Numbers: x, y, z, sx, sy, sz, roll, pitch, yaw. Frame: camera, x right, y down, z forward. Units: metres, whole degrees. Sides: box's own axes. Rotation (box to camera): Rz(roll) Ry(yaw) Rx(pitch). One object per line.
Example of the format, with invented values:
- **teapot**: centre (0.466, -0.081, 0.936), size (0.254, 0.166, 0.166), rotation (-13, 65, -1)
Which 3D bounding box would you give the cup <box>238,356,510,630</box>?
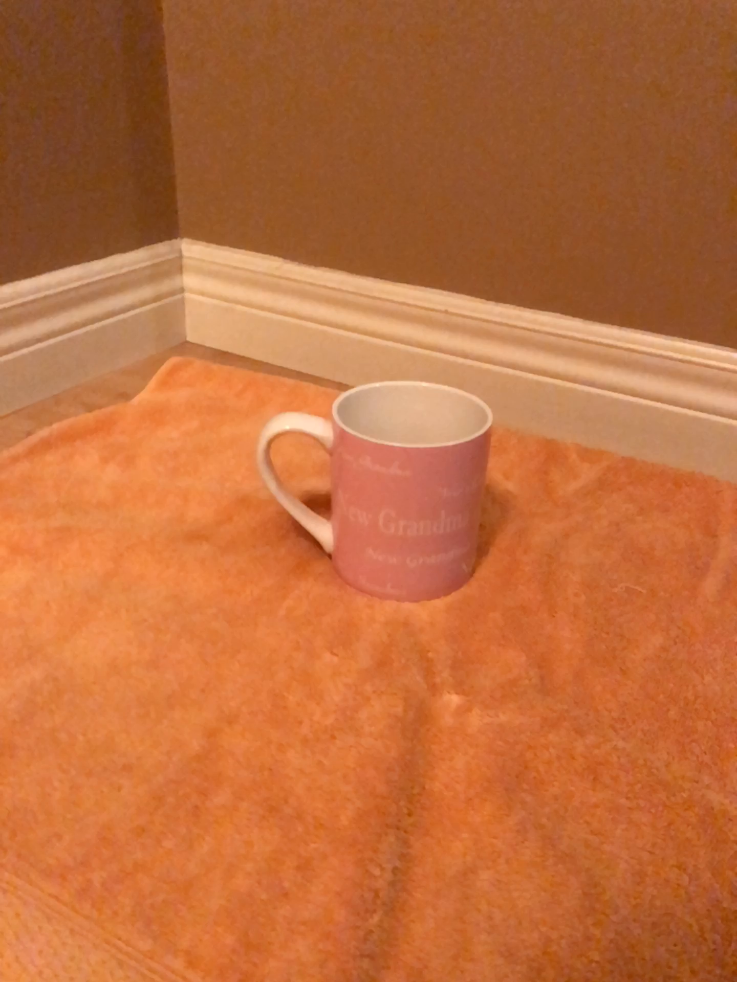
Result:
- **cup**: centre (0.007, -0.004, 0.487), size (0.140, 0.109, 0.111), rotation (7, 29, 6)
